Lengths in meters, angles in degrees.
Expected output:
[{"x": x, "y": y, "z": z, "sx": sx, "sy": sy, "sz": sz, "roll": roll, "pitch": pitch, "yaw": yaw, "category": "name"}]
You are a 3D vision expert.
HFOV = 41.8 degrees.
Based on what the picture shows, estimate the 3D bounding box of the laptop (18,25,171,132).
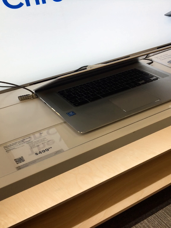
[{"x": 0.080, "y": -0.125, "z": 0.631, "sx": 0.383, "sy": 0.158, "sz": 0.259, "roll": -23, "pitch": 41, "yaw": -23, "category": "laptop"}]
